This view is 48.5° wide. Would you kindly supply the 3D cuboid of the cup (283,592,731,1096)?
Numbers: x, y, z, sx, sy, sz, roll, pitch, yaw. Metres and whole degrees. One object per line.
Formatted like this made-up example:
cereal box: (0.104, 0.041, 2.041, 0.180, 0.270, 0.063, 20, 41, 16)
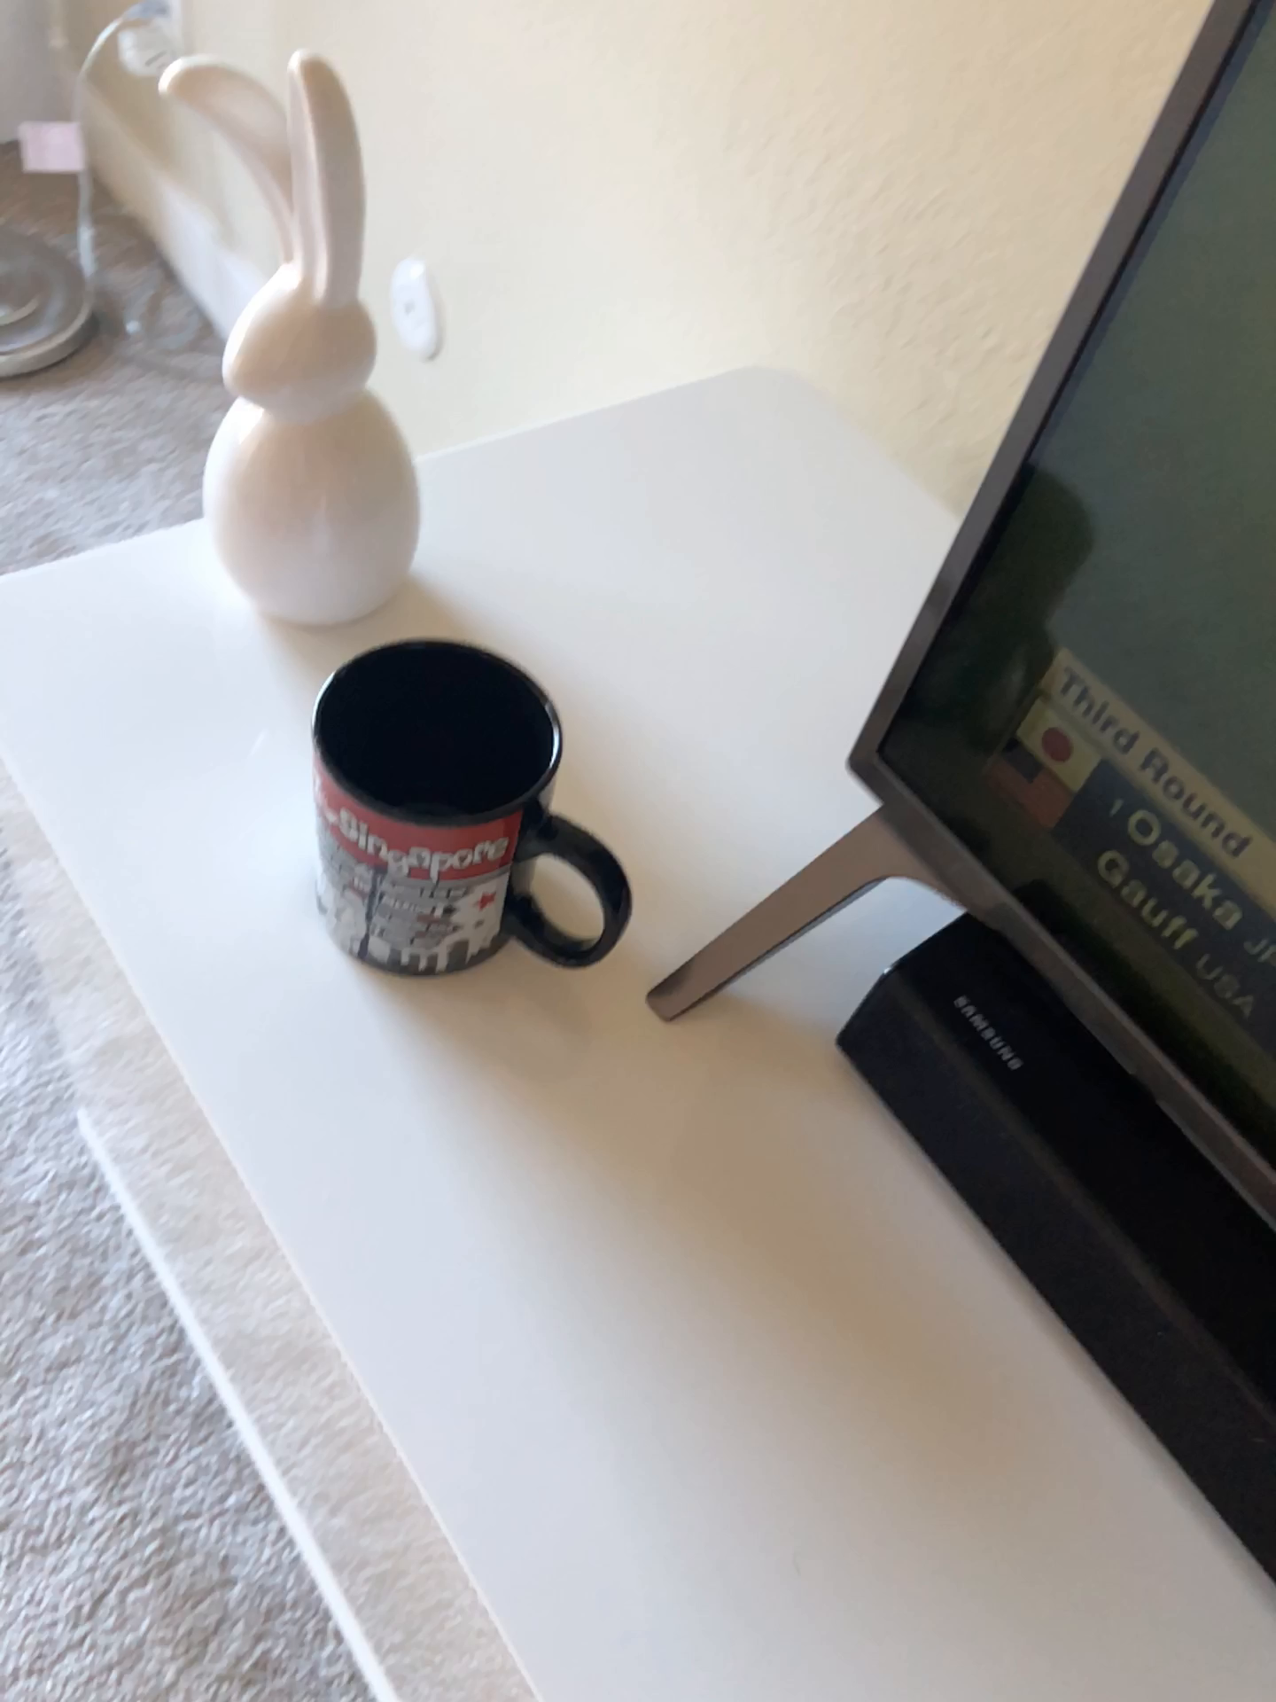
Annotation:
cup: (-0.051, -0.001, 0.497, 0.120, 0.110, 0.080, 32, 53, 11)
